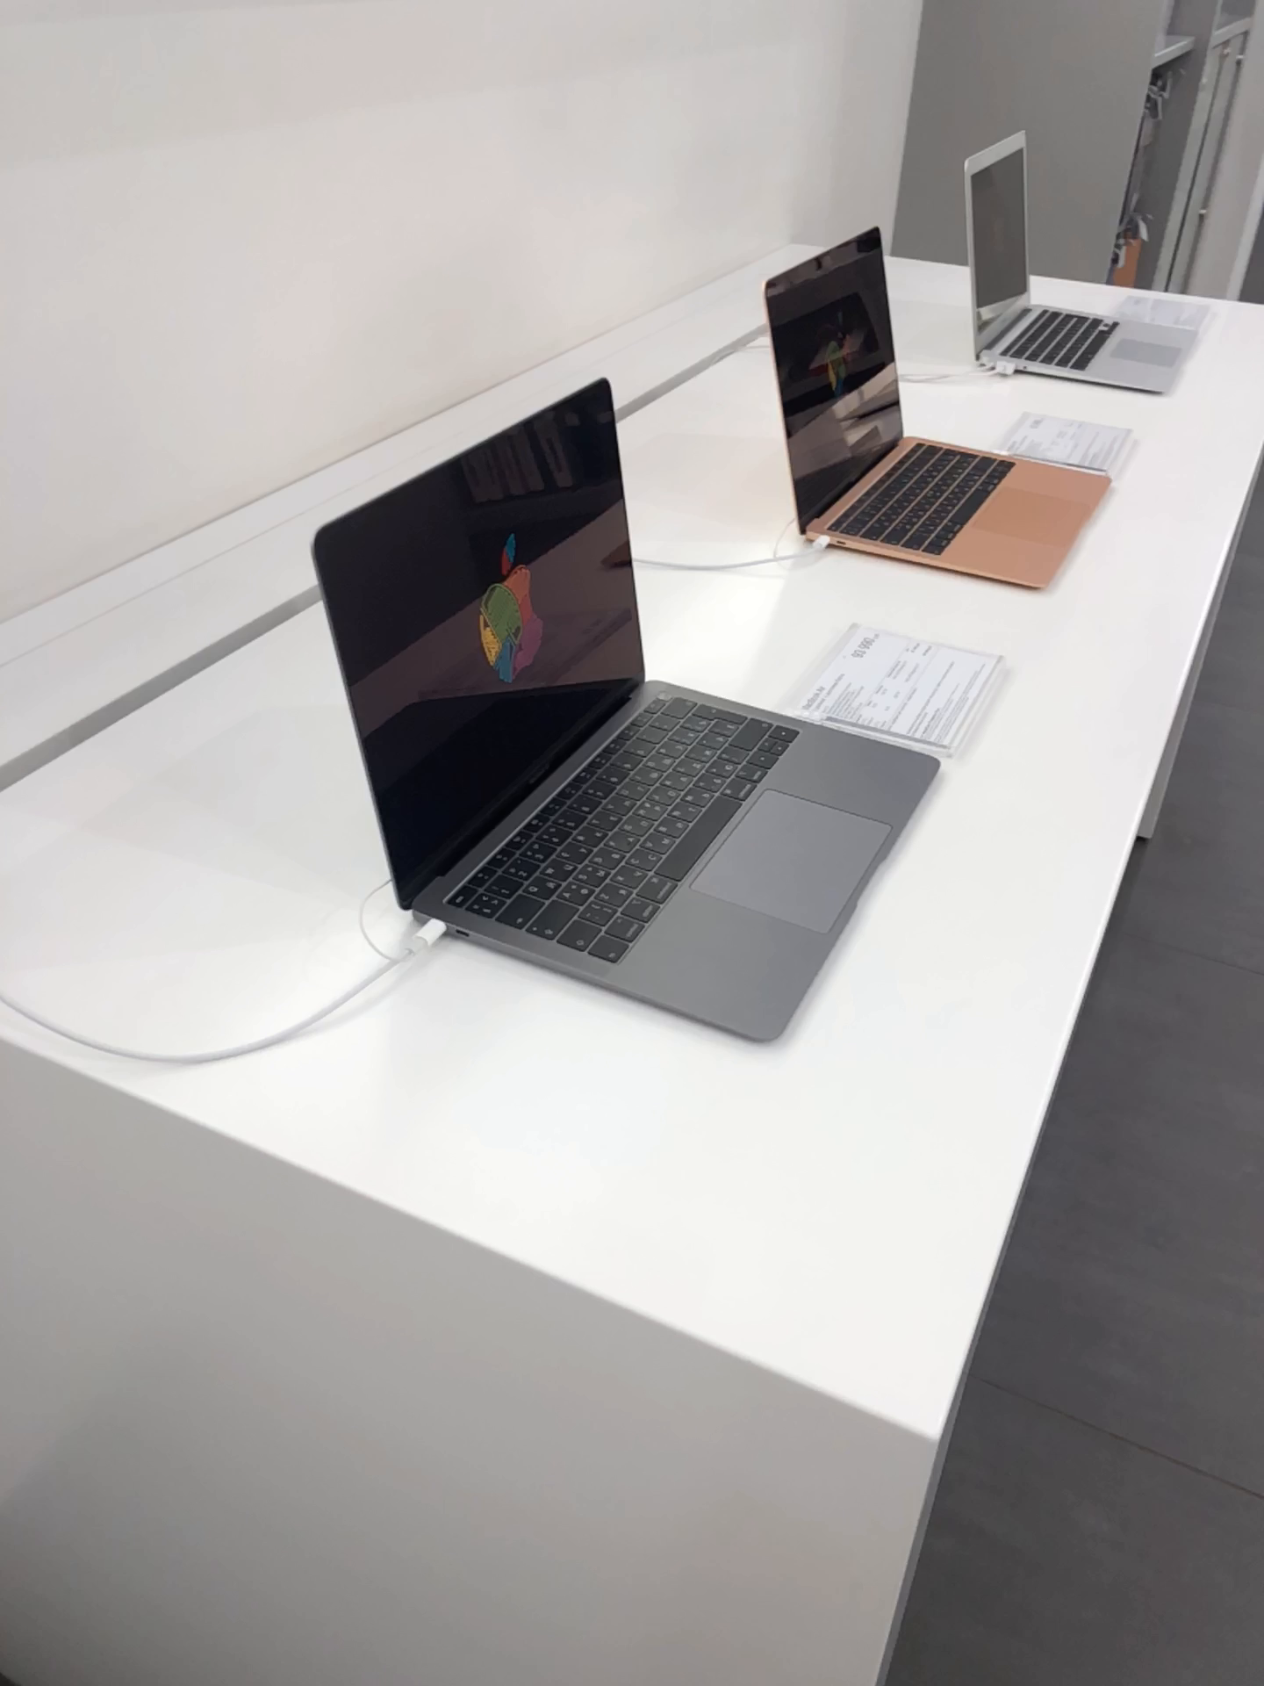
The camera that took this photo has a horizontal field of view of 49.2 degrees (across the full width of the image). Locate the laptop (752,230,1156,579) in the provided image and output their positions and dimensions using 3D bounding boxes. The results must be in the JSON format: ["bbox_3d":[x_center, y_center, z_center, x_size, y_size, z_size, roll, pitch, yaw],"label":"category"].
[{"bbox_3d":[0.281,-0.395,1.200,0.260,0.184,0.294,17,36,21],"label":"laptop"}]

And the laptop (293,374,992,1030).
[{"bbox_3d":[0.020,-0.098,0.745,0.250,0.194,0.286,17,36,18],"label":"laptop"}]
